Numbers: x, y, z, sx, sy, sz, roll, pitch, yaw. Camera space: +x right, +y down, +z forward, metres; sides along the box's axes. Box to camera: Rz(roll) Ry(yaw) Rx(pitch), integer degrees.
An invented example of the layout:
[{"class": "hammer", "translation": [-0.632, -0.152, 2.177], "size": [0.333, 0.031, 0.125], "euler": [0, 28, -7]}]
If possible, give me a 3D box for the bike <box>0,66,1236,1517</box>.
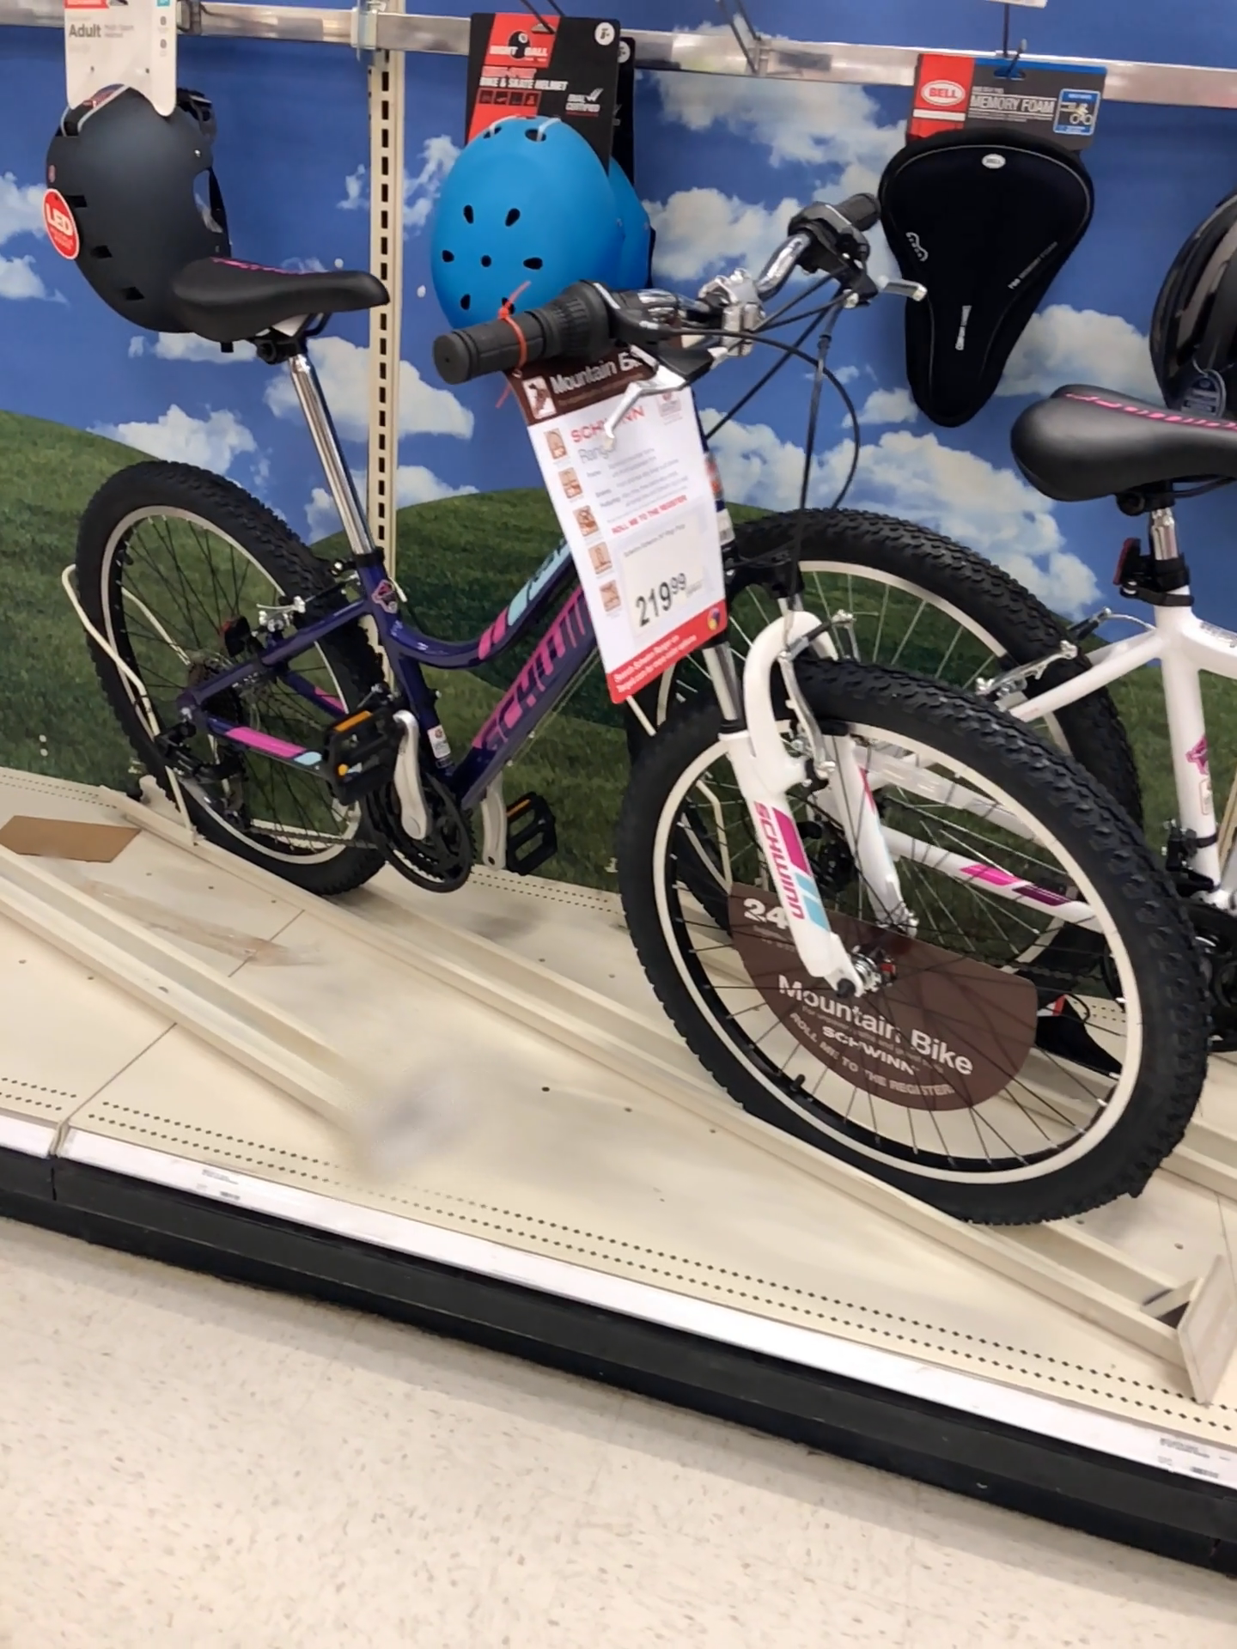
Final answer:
[{"class": "bike", "translation": [-0.068, -0.192, 1.266], "size": [1.225, 0.799, 0.569], "euler": [24, 30, 39]}]
